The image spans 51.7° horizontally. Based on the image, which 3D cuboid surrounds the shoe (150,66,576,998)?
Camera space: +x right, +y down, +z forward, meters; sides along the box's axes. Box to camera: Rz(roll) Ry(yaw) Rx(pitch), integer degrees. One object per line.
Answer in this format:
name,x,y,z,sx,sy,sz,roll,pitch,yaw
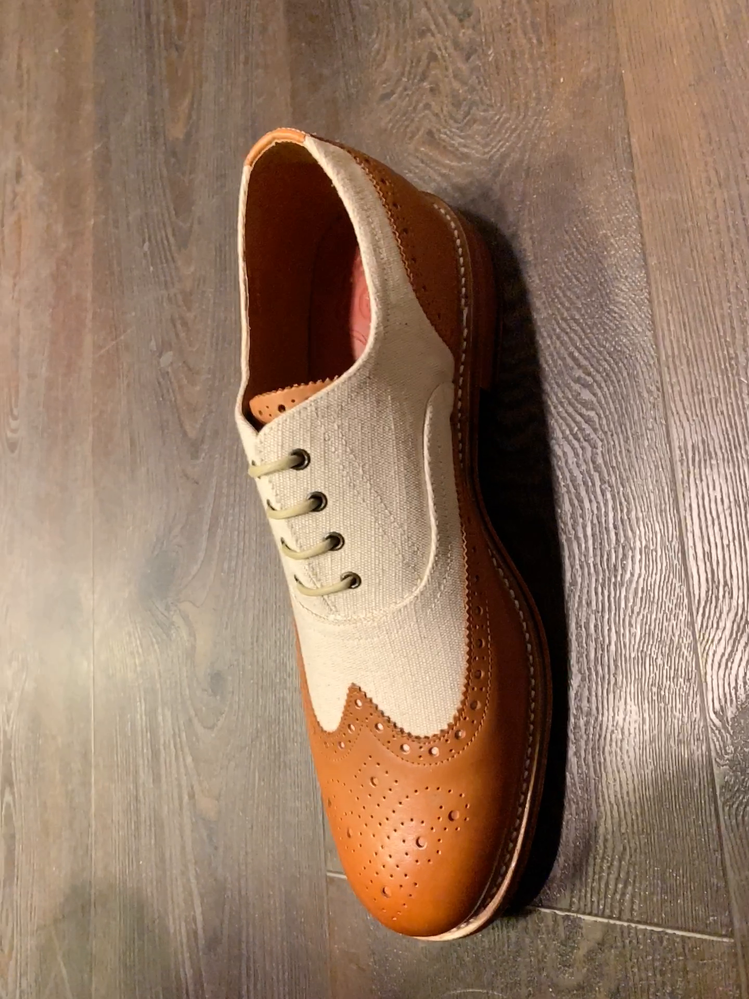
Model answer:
shoe,-0.004,0.017,0.313,0.111,0.119,0.300,-8,79,35
